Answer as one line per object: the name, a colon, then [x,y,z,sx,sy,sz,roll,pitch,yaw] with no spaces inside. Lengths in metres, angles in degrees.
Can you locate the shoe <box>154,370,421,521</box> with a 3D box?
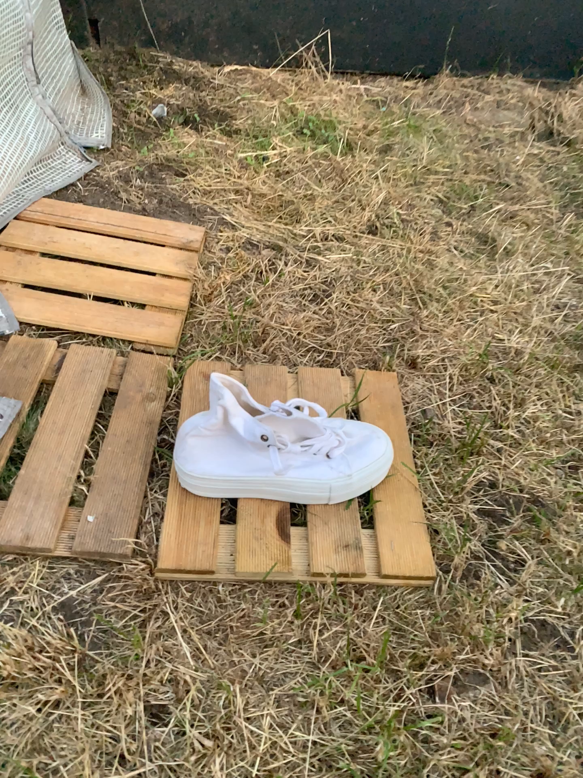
shoe: [-0.005,0.064,0.657,0.260,0.129,0.101,2,47,0]
